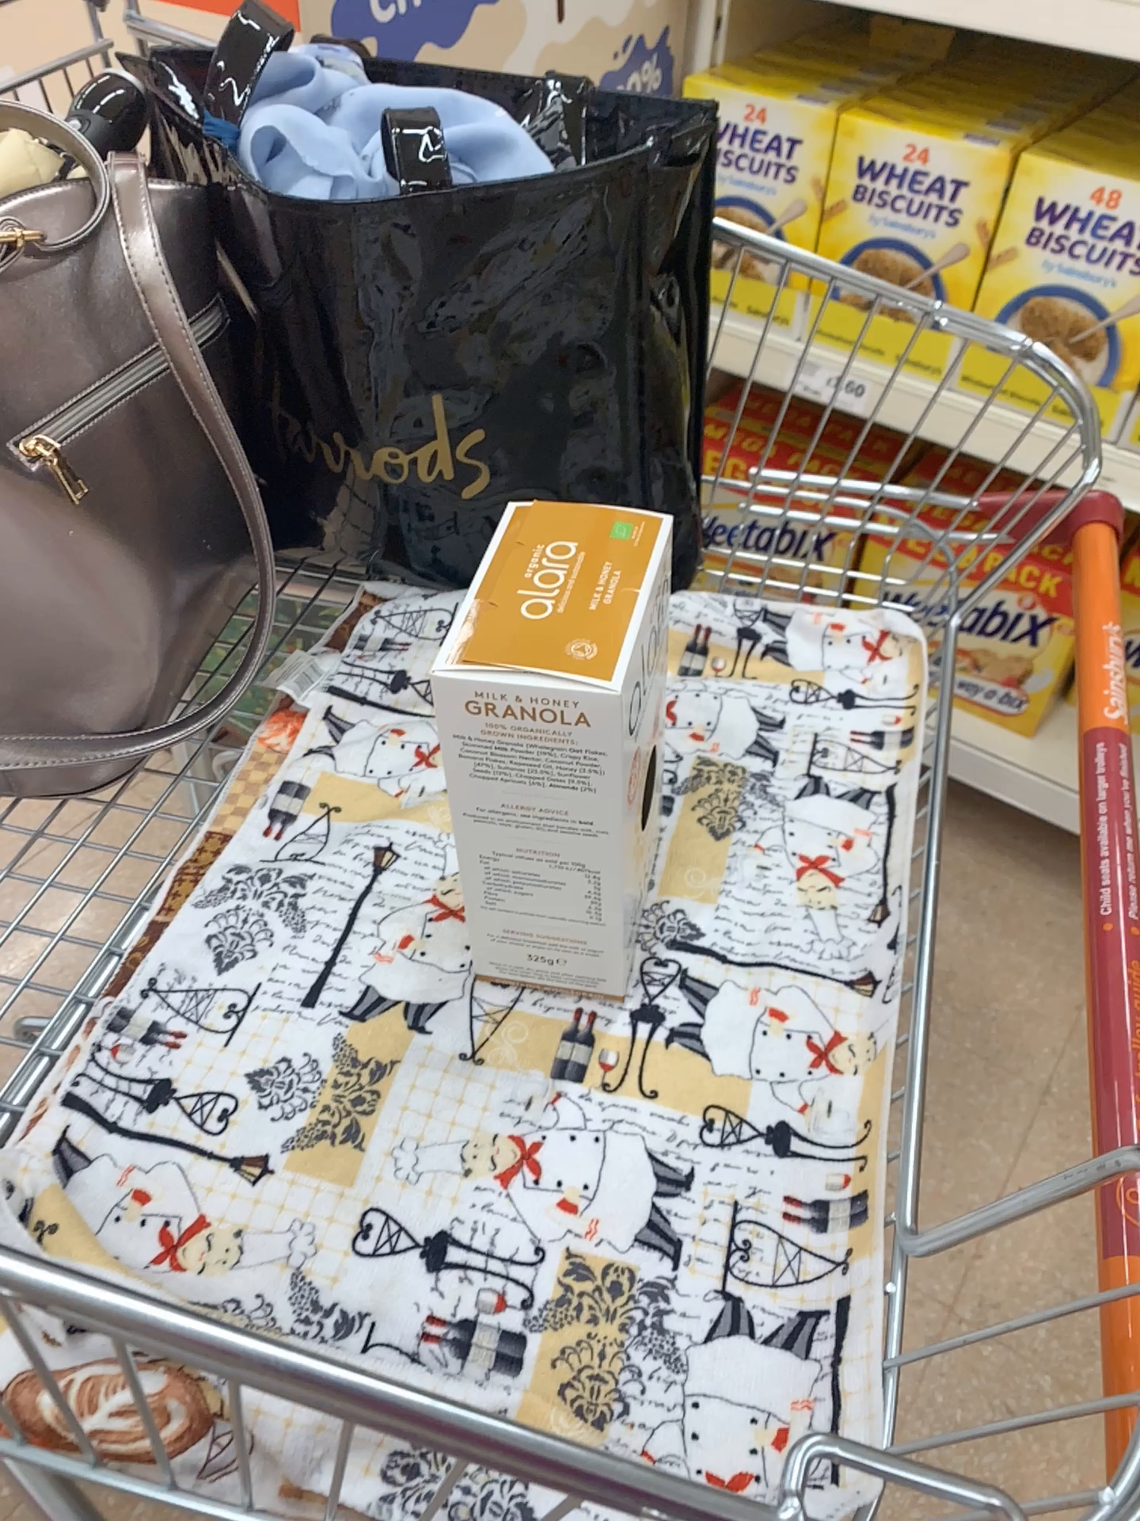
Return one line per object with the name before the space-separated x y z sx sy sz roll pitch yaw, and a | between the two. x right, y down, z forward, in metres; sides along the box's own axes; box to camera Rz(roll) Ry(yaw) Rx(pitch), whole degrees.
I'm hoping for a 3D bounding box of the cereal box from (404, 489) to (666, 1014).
cereal box | -0.008 0.000 0.528 0.080 0.198 0.121 7 43 8
